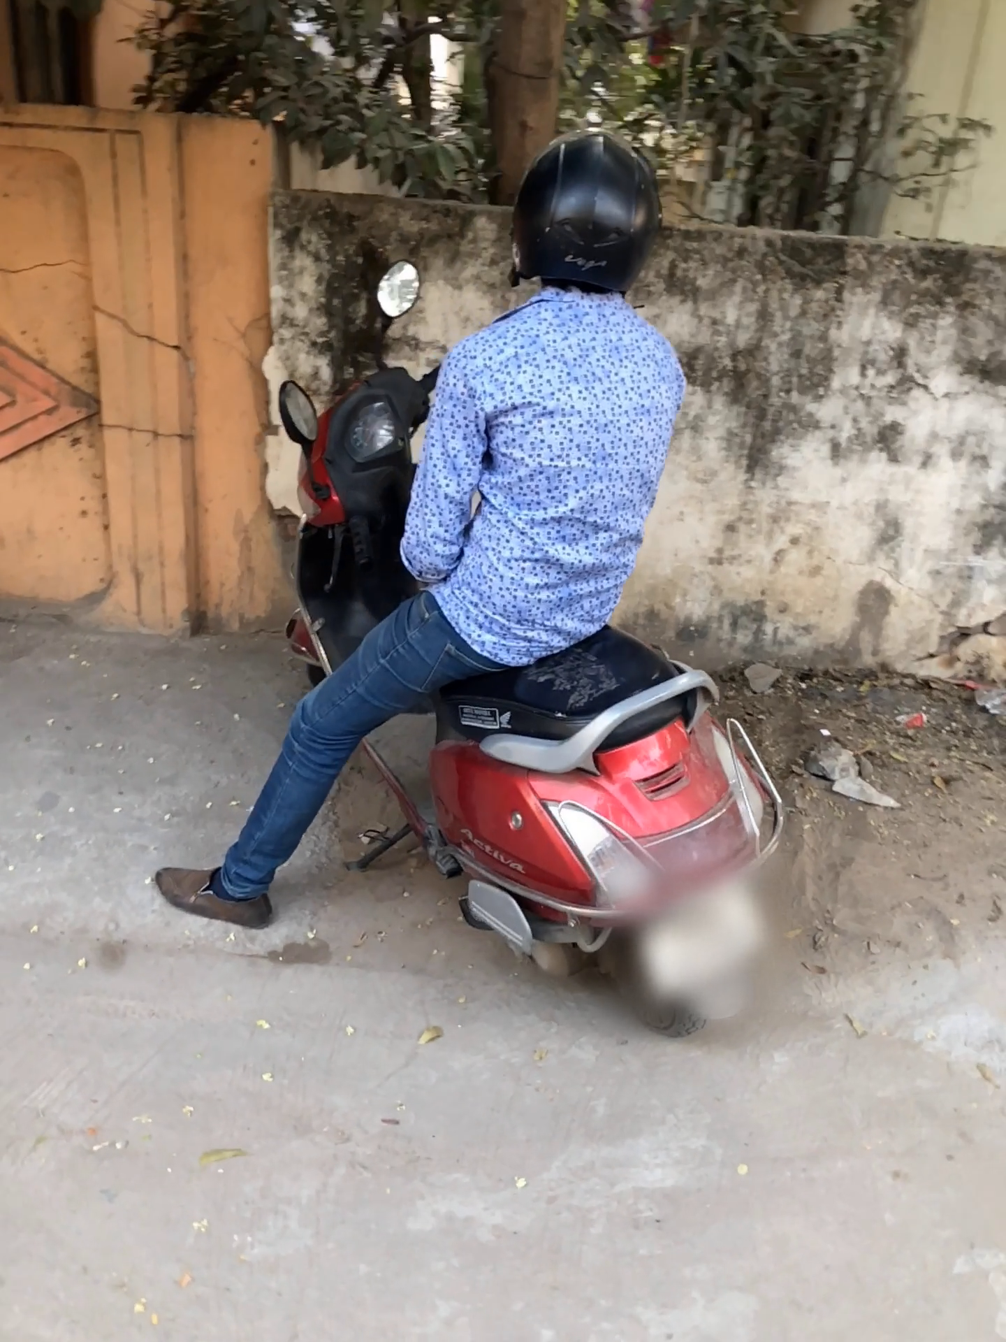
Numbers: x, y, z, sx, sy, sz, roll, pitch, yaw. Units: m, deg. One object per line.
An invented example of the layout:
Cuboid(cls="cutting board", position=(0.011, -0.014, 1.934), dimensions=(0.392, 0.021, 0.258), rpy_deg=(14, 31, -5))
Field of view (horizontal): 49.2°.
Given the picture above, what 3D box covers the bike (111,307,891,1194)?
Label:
Cuboid(cls="bike", position=(-0.163, -0.018, 2.349), dimensions=(0.724, 1.165, 1.506), rpy_deg=(-13, 32, -35))
